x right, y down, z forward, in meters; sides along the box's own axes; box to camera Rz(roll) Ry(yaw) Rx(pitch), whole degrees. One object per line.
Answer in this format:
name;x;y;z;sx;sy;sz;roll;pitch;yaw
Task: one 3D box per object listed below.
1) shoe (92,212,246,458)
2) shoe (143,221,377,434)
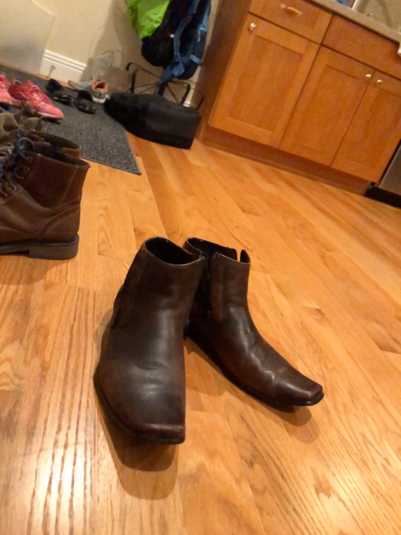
shoe;-0.060;0.061;0.546;0.109;0.142;0.291;13;24;-19
shoe;0.072;0.068;0.656;0.301;0.152;0.109;35;26;30
